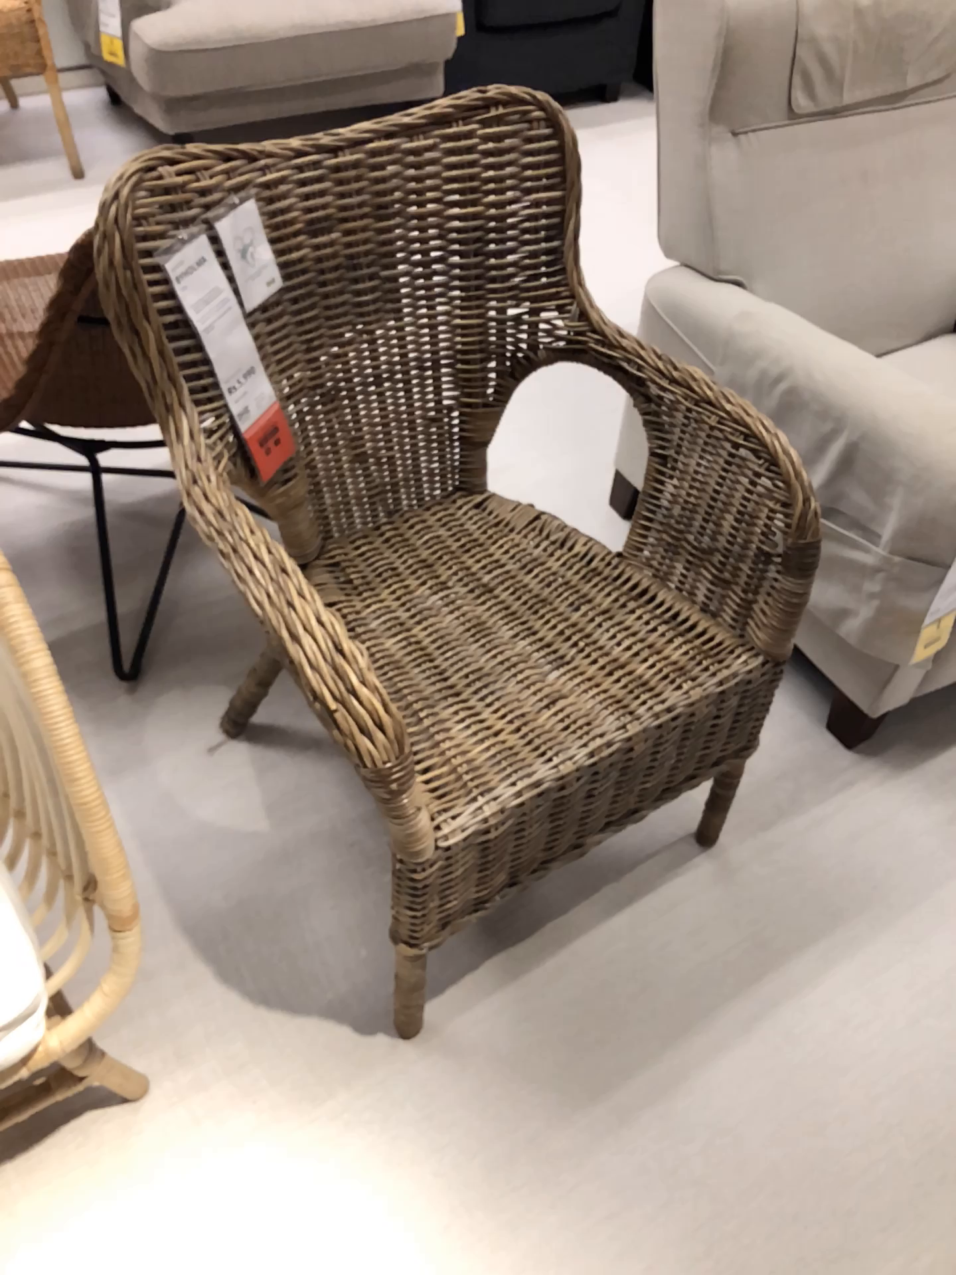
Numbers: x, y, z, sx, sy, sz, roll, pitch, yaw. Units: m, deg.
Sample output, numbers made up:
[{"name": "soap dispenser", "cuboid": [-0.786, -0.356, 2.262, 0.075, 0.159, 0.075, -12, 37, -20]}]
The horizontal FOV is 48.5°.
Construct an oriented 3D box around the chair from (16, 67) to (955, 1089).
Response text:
[{"name": "chair", "cuboid": [-0.029, -0.073, 1.362, 0.671, 0.924, 0.683, -24, 53, -25]}]
